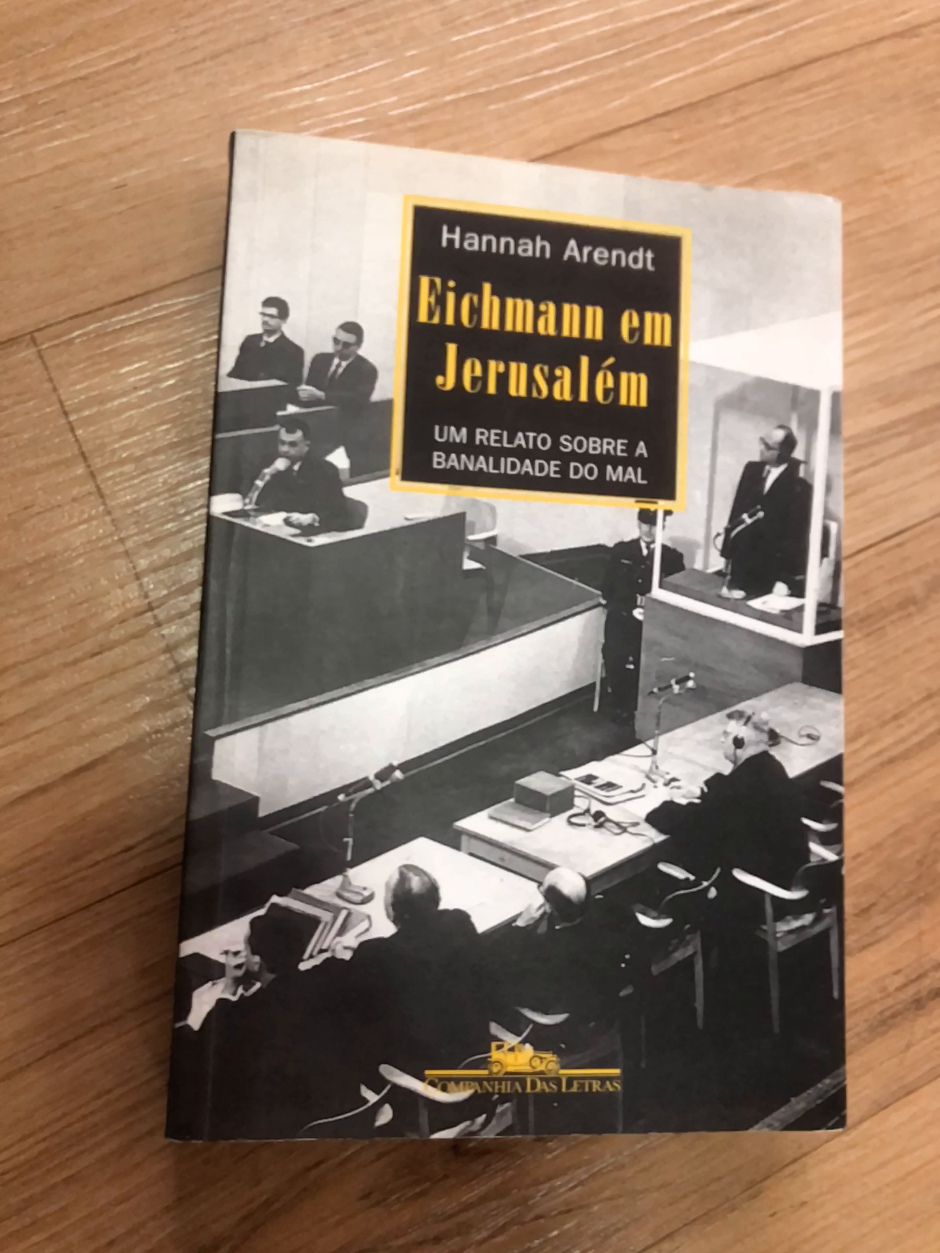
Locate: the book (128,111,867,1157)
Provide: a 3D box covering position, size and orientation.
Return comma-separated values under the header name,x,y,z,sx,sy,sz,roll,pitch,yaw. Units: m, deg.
name,x,y,z,sx,sy,sz,roll,pitch,yaw
book,0.010,0.000,0.225,0.144,0.023,0.202,3,83,-9
